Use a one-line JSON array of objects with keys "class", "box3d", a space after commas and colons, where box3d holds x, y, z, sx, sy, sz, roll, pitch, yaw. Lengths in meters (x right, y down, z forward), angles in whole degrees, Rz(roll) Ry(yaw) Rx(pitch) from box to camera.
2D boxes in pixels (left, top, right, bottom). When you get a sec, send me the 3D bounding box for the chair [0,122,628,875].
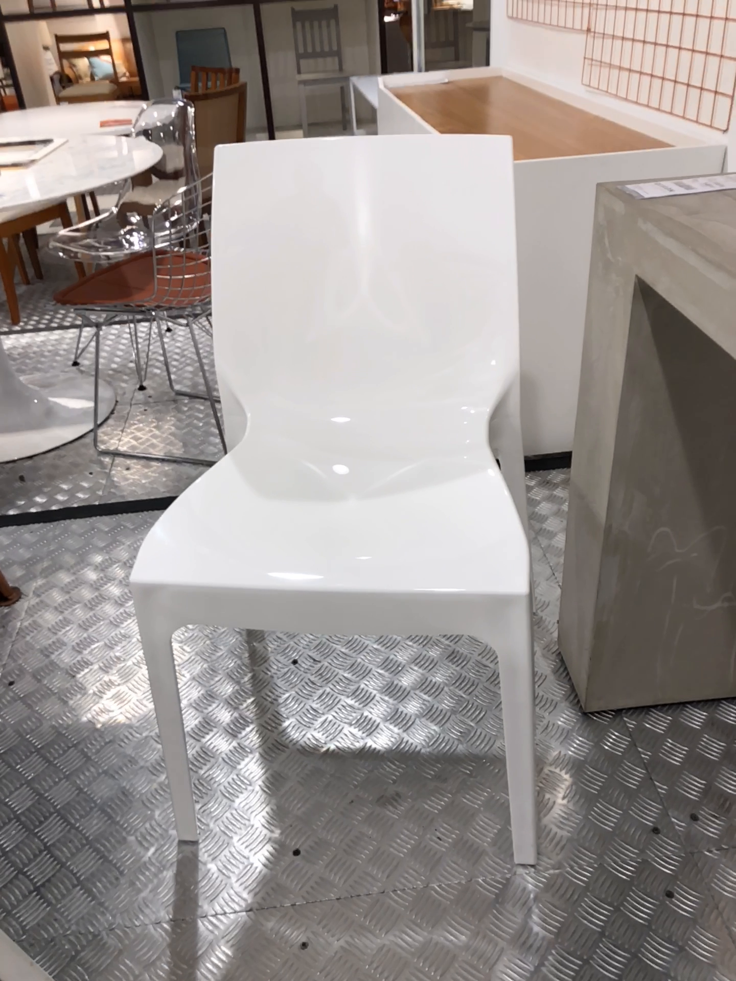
[{"class": "chair", "box3d": [-0.015, -0.005, 1.044, 0.520, 0.764, 0.544, 1, 33, 8]}]
